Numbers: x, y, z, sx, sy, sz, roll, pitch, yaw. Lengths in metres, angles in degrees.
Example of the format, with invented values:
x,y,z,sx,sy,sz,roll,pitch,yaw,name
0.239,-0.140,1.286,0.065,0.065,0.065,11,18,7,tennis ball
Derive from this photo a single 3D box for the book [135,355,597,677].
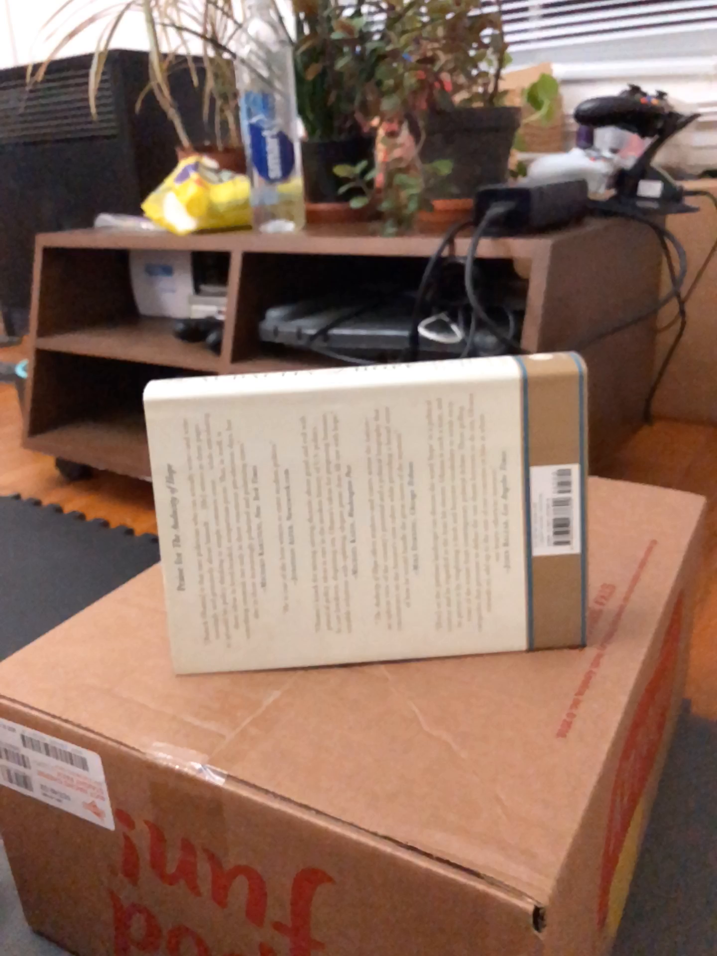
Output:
x,y,z,sx,sy,sz,roll,pitch,yaw,name
0.007,0.019,0.474,0.250,0.170,0.060,-3,10,-2,book
